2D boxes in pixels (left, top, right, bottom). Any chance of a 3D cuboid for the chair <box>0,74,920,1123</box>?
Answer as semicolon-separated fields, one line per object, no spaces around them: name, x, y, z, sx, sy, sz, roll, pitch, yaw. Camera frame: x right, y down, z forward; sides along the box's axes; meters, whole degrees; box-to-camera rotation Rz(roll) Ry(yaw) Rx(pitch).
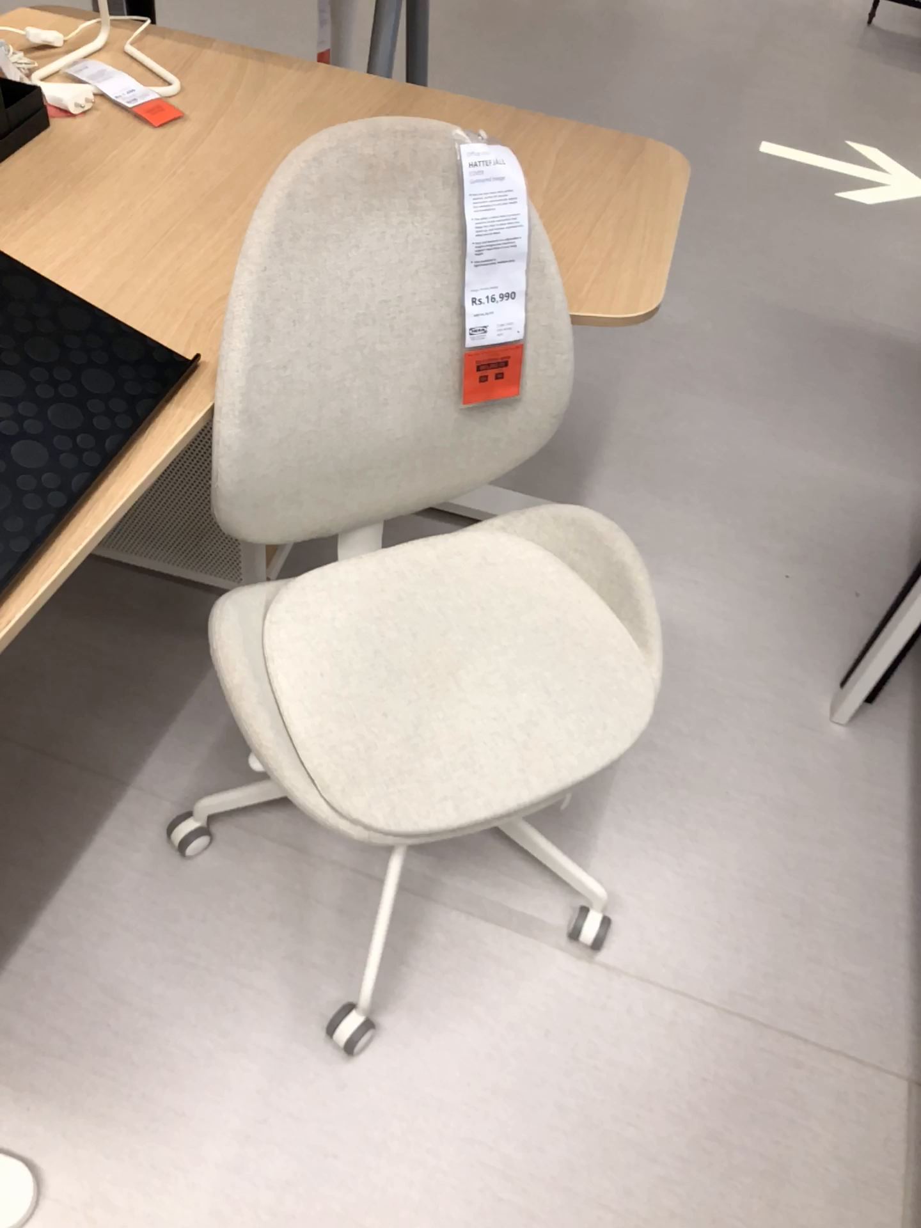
chair;-0.035;0.020;1.233;0.661;0.994;0.623;-19;55;-23
